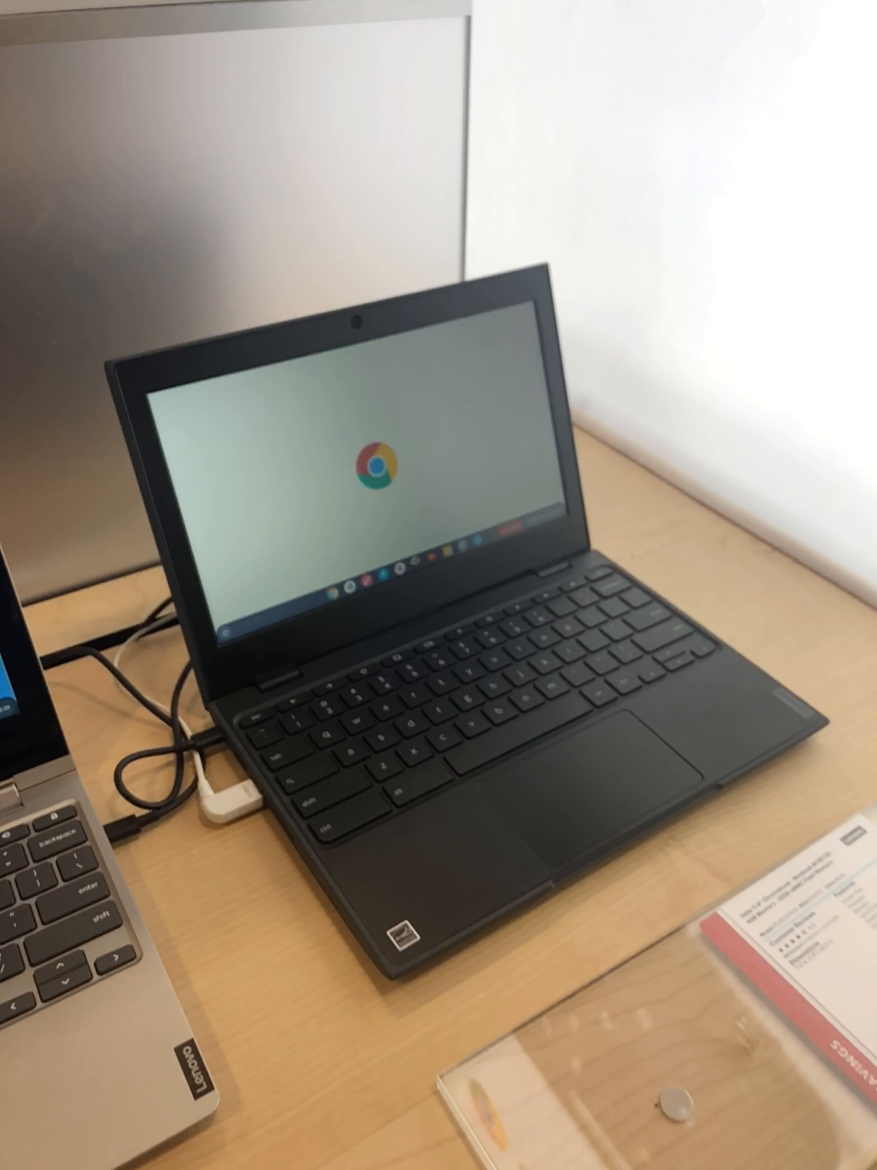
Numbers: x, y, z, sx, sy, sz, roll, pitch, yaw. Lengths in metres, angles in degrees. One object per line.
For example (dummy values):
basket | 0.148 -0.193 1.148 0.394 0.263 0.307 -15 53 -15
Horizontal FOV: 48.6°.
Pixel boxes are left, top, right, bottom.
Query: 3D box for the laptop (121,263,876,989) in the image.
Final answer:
laptop | 0.023 -0.018 0.521 0.282 0.178 0.271 -21 41 -26
